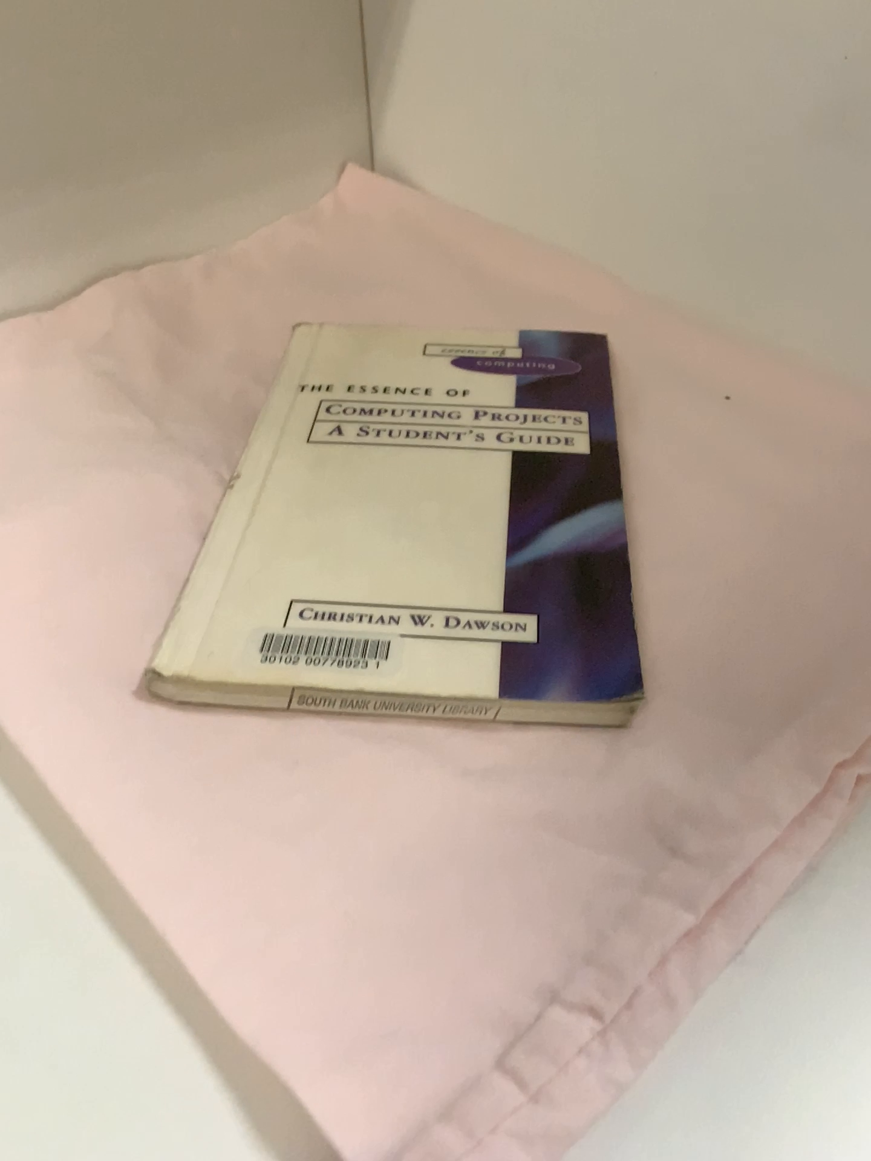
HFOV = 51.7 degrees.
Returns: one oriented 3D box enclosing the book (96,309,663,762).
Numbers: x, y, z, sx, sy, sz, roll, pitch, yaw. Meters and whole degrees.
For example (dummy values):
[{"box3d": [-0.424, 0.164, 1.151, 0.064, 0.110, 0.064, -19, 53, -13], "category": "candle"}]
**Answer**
[{"box3d": [-0.008, -0.043, 0.370, 0.170, 0.020, 0.262, 2, 42, 5], "category": "book"}]
